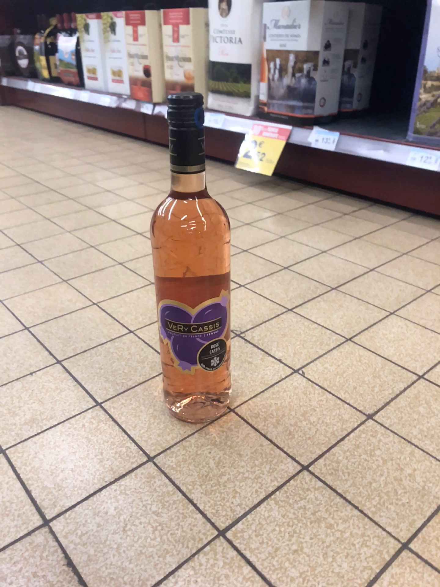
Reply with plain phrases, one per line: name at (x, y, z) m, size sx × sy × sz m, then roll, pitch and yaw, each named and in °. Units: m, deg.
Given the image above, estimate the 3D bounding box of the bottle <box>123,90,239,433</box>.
bottle at (-0.033, -0.020, 0.442) m, size 0.080 × 0.298 × 0.080 m, roll 0°, pitch 27°, yaw 0°
